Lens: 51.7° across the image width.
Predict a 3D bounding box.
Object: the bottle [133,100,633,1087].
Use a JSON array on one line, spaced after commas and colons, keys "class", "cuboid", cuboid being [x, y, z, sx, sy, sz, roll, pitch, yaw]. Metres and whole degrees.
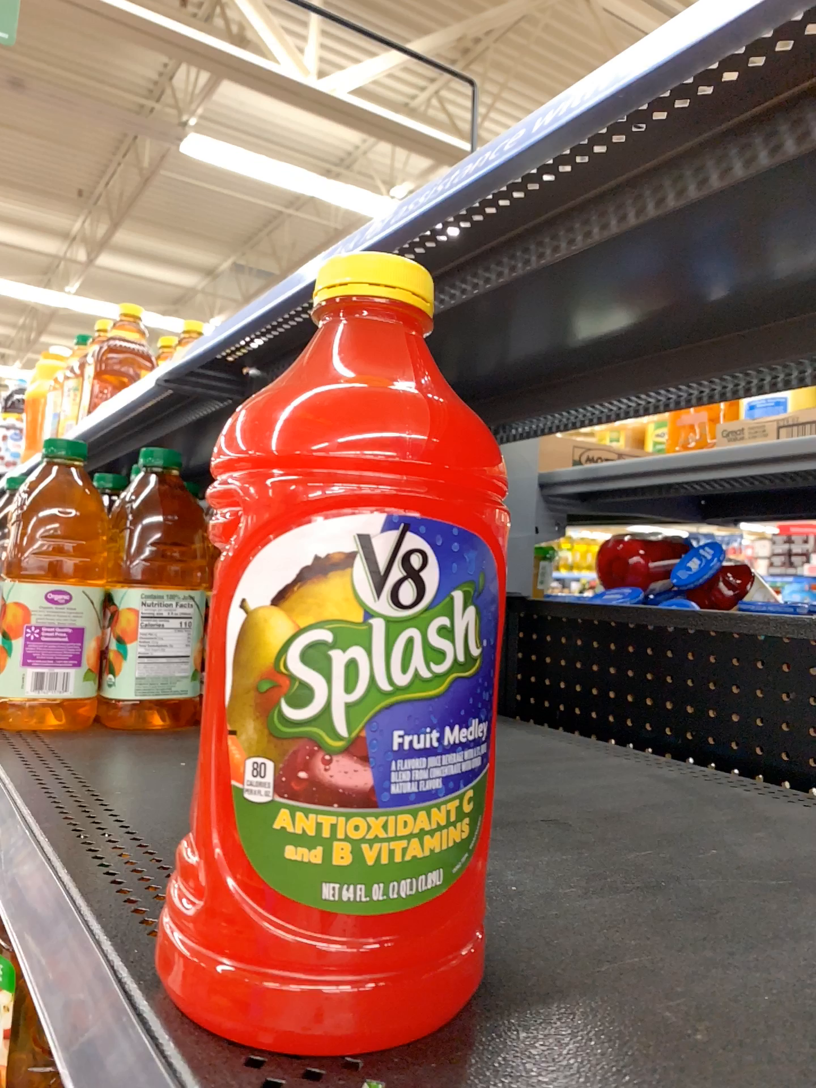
[{"class": "bottle", "cuboid": [-0.017, 0.015, 0.304, 0.140, 0.265, 0.122, 3, -3, -17]}]
